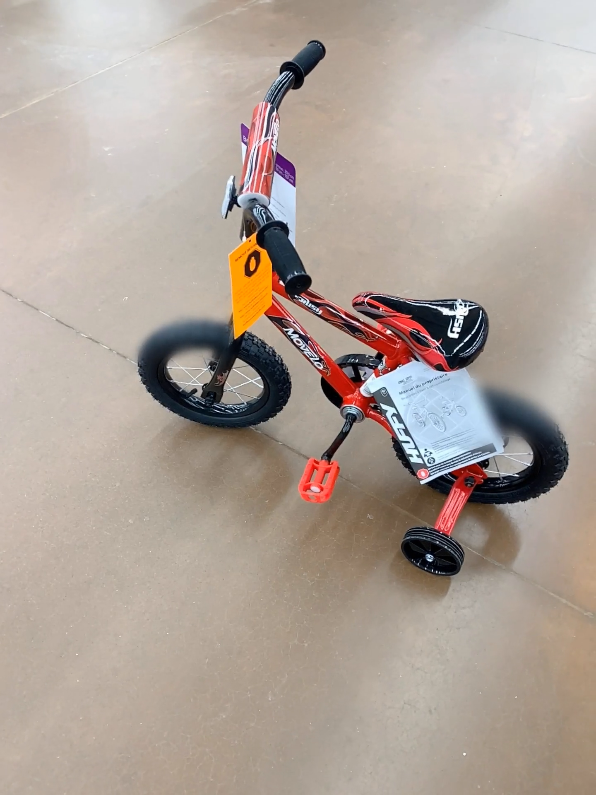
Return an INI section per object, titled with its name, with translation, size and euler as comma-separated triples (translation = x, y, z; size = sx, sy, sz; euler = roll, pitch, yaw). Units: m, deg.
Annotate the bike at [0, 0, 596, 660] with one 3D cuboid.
[bike]
translation = 0.076, -0.078, 0.825
size = 0.704, 0.626, 0.459
euler = 15, 50, 6
